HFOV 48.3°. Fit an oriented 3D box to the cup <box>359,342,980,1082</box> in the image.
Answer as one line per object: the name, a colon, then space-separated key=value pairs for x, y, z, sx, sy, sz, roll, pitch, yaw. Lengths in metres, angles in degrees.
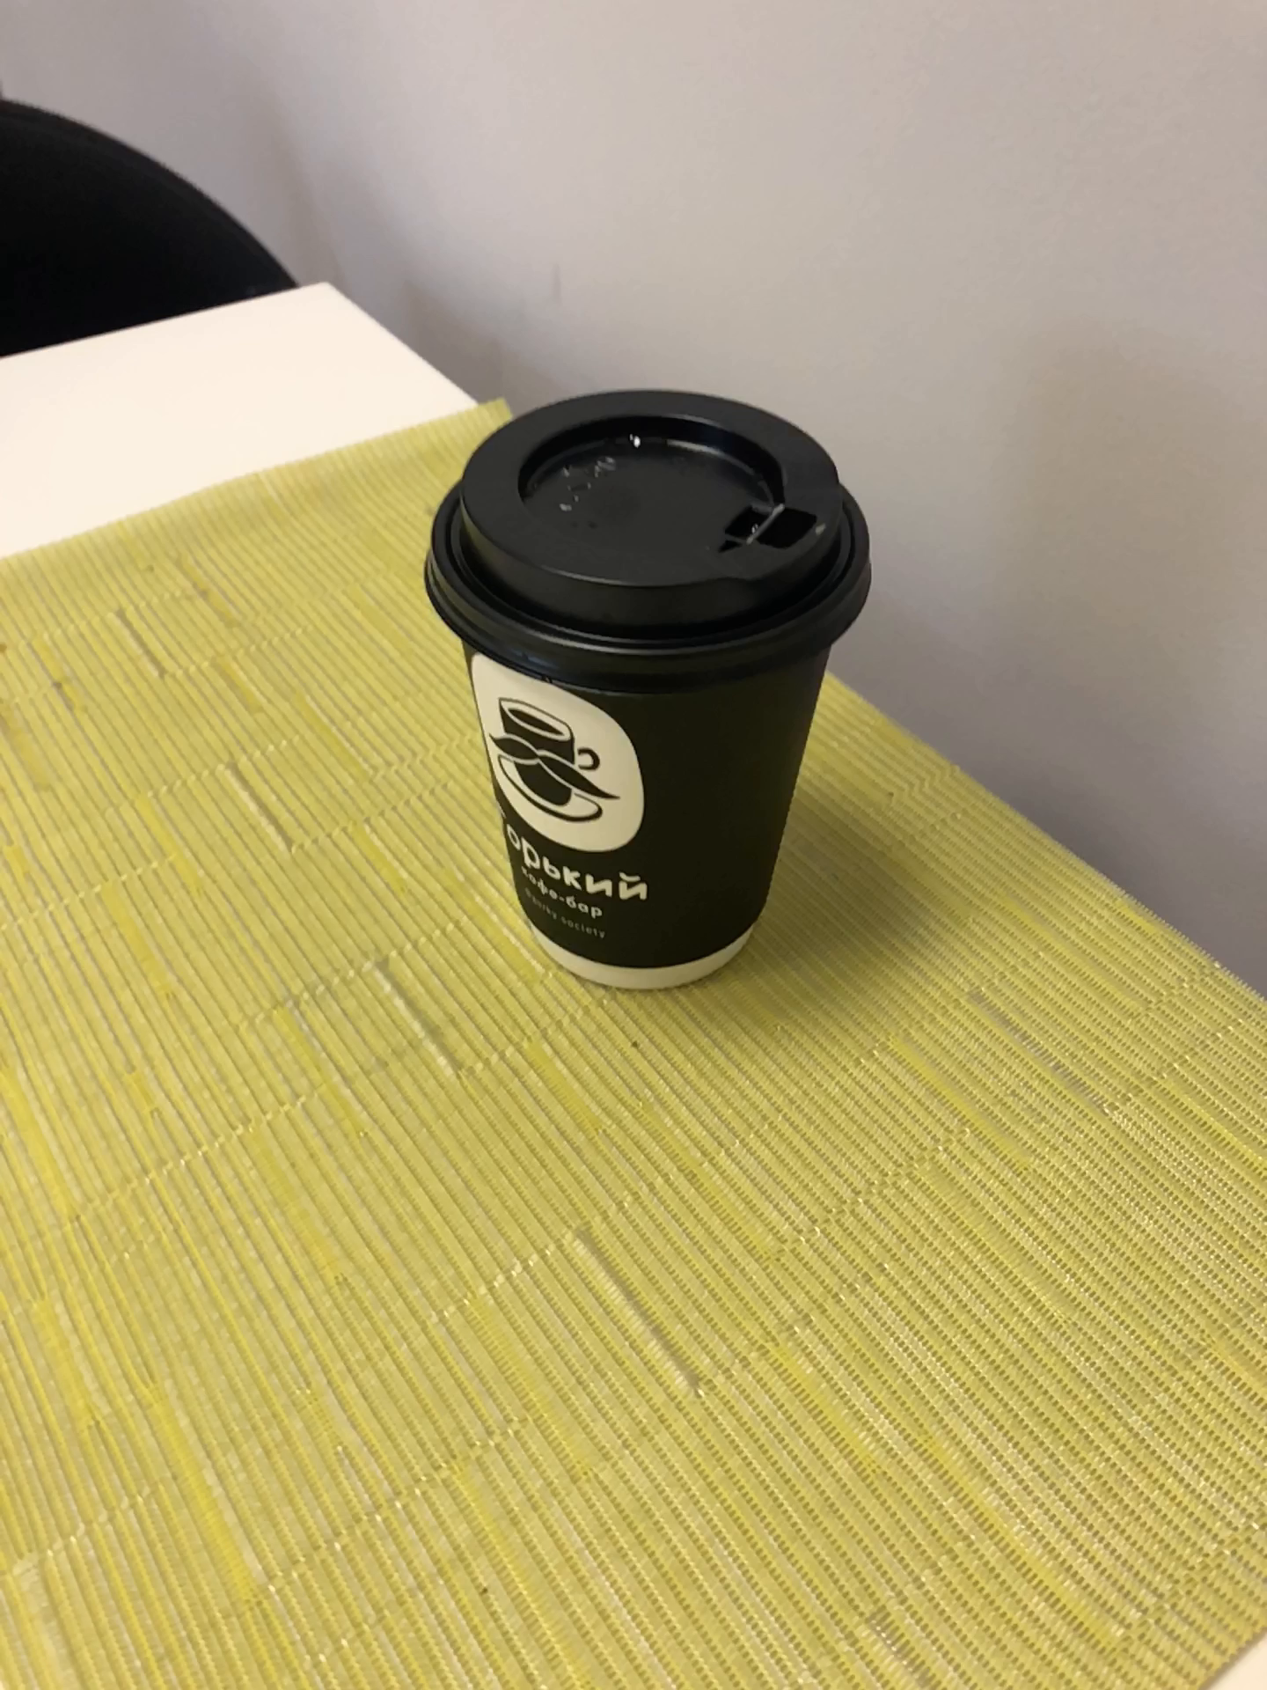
cup: x=0.008 y=-0.033 z=0.333 sx=0.092 sy=0.119 sz=0.090 roll=0 pitch=44 yaw=0
